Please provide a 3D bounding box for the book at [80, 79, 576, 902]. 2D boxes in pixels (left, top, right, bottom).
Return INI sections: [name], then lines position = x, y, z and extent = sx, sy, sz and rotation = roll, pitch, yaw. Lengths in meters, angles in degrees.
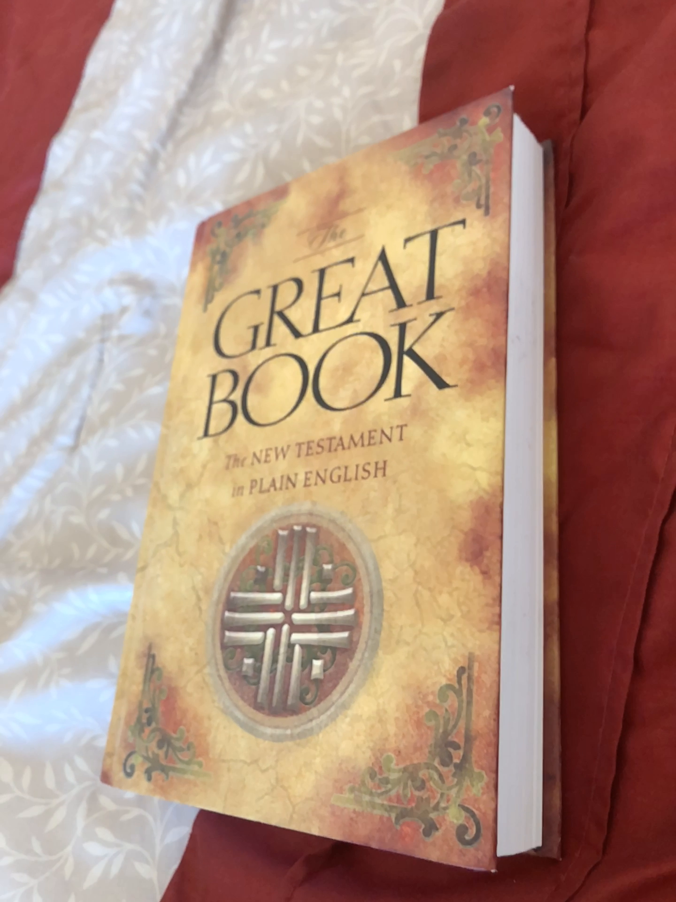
[book]
position = -0.006, 0.008, 0.260
extent = 0.161, 0.040, 0.220
rotation = -10, 67, 39
